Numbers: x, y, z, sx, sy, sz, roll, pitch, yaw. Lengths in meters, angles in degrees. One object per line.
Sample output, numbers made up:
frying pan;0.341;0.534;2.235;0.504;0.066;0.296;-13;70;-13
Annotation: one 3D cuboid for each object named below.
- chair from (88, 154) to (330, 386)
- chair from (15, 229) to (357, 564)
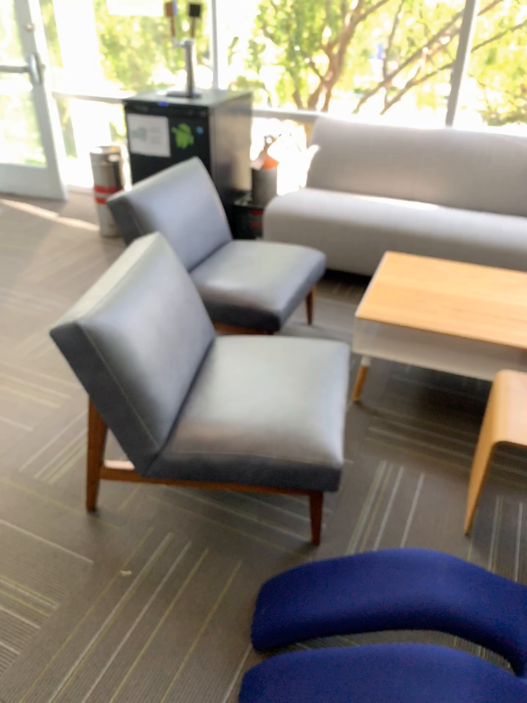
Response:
chair;-0.211;-0.440;2.675;0.851;0.765;0.743;12;35;16
chair;-0.164;0.111;1.837;0.850;0.765;0.684;6;33;7
